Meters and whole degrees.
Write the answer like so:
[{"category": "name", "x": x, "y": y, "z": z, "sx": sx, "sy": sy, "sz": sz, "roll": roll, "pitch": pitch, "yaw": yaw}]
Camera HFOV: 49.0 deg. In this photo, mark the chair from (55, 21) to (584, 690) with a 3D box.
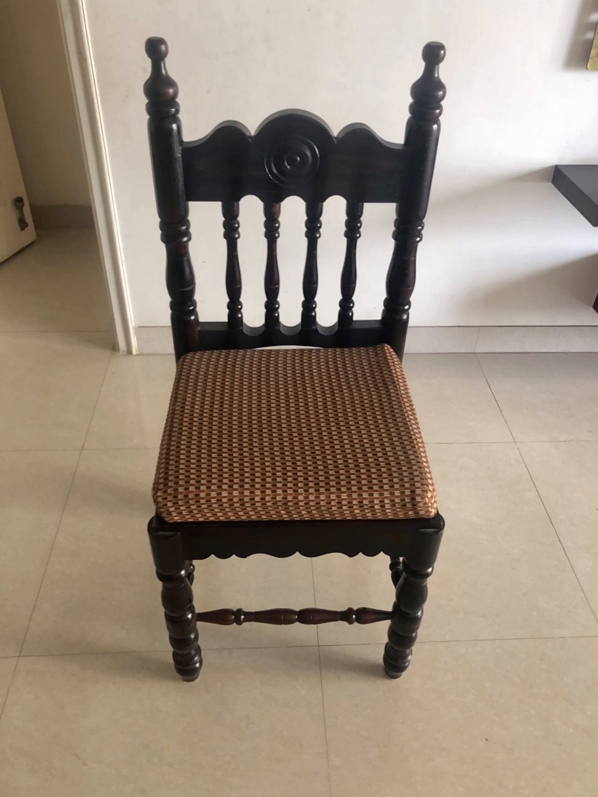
[{"category": "chair", "x": 0.002, "y": -0.028, "z": 1.155, "sx": 0.500, "sy": 1.022, "sz": 0.564, "roll": 0, "pitch": 38, "yaw": -2}]
